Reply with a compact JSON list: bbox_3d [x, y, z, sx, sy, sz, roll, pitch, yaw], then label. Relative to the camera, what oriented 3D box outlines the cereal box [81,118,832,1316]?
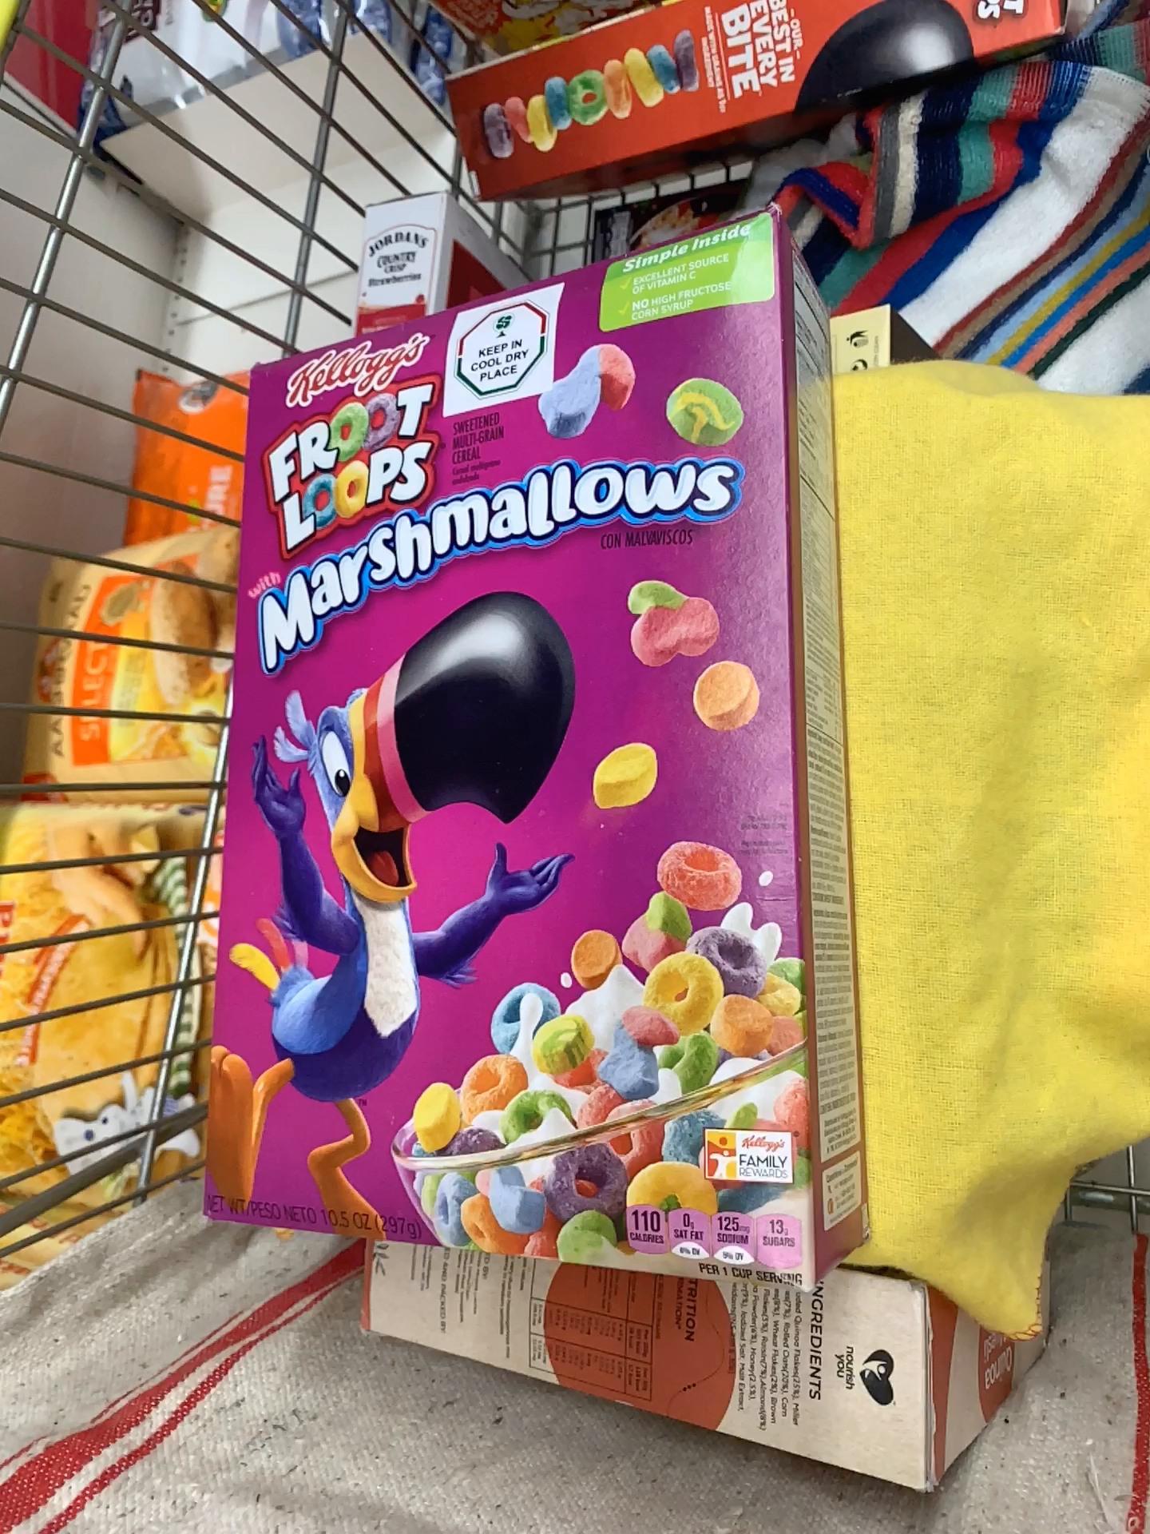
[{"bbox_3d":[-0.034,-0.010,0.336,0.191,0.070,0.270,-4,79,27],"label":"cereal box"}]
